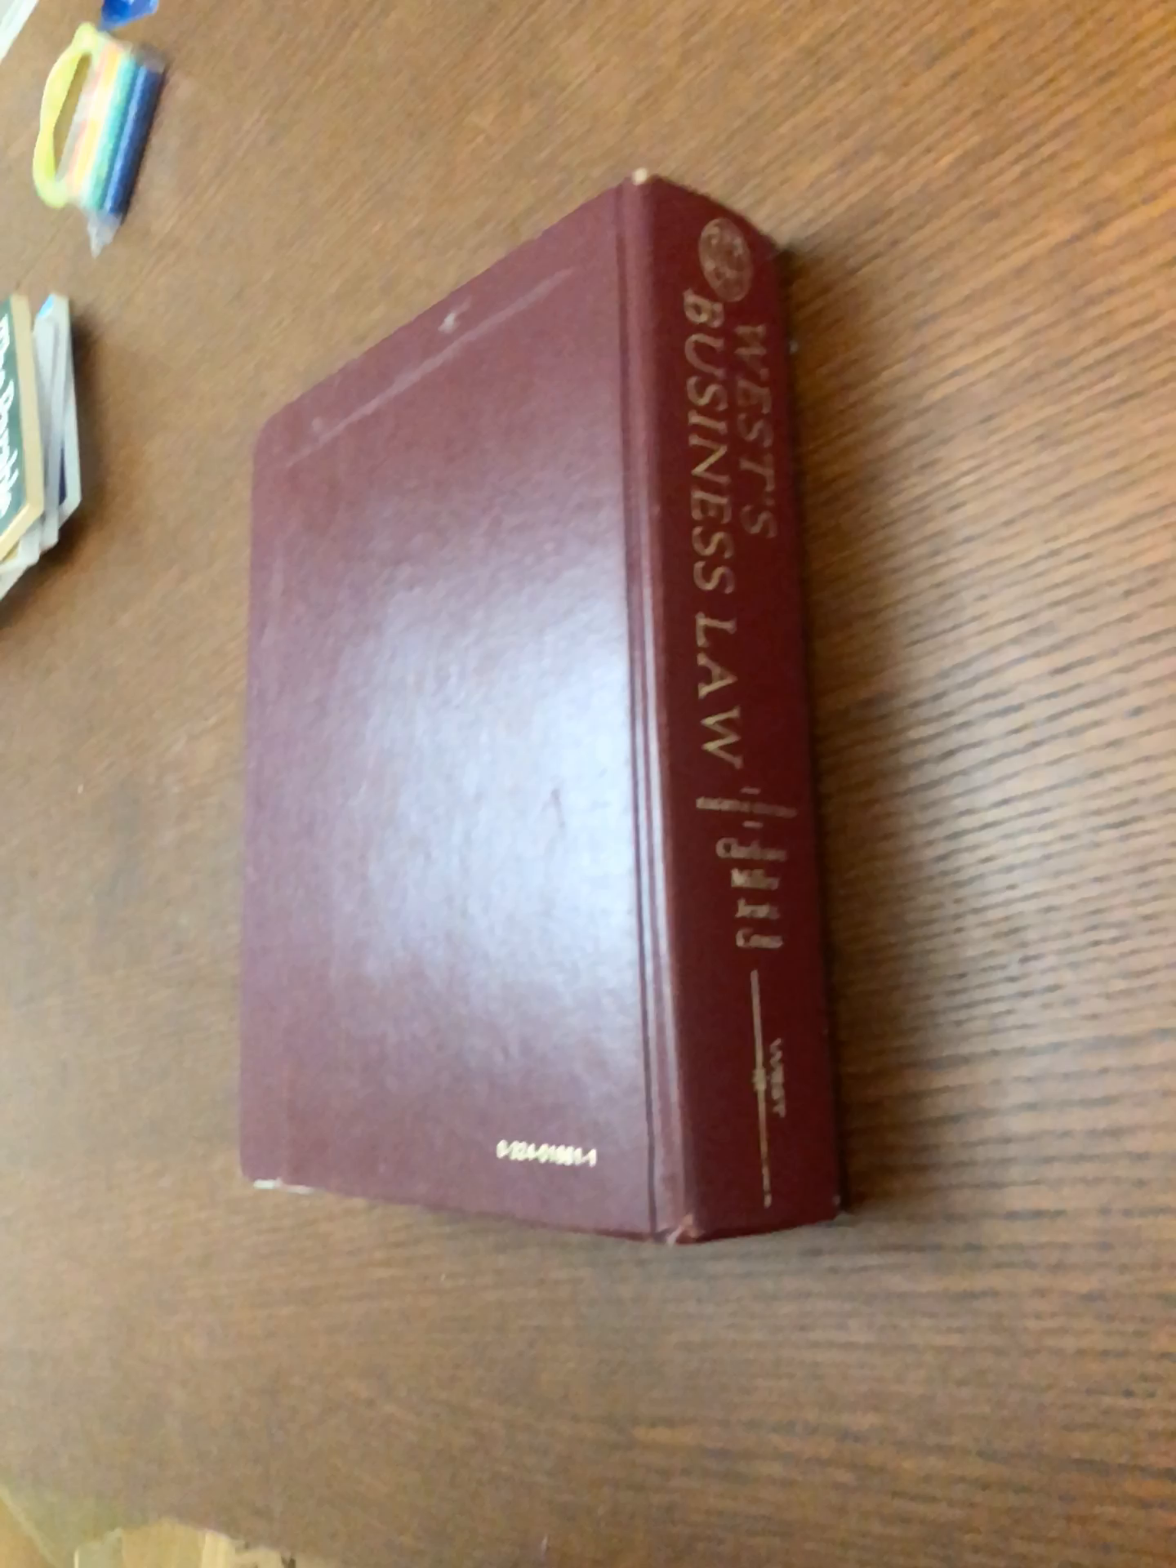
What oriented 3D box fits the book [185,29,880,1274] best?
[{"bbox_3d":[-0.033,-0.023,0.393,0.221,0.070,0.290,-12,74,46],"label":"book"}]
